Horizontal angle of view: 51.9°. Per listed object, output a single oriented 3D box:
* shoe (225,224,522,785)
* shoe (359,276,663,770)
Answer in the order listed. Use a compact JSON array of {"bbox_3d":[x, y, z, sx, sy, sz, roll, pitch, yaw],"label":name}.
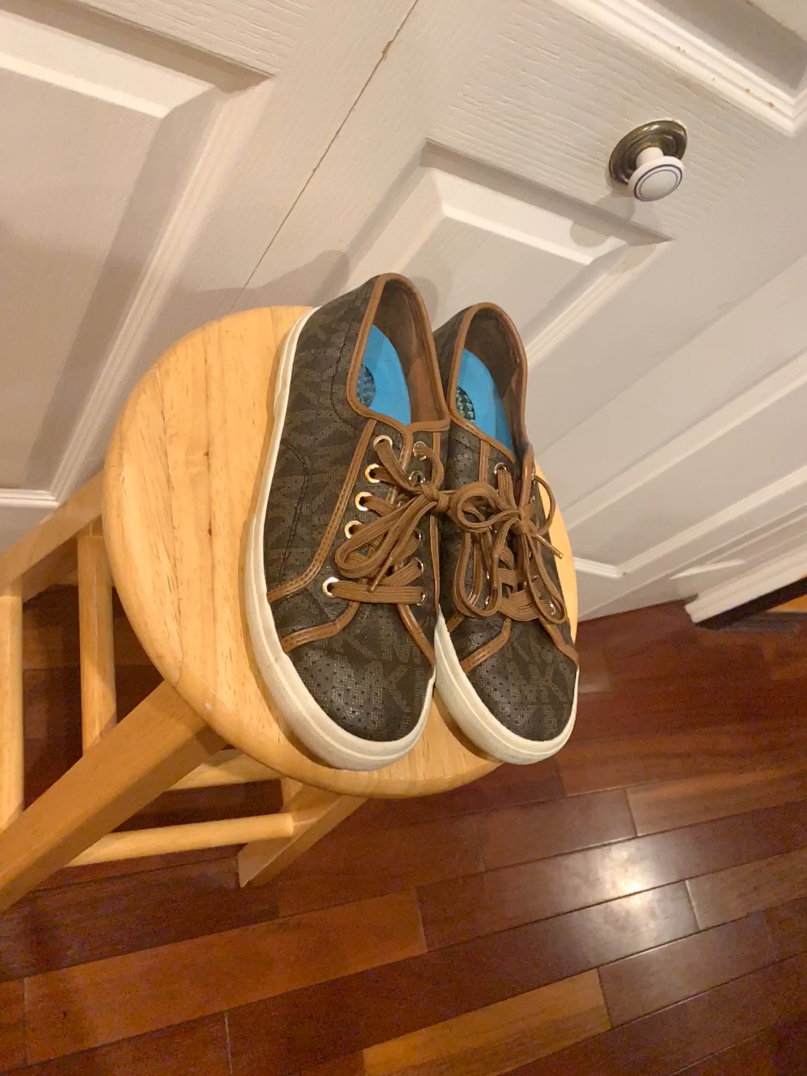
[{"bbox_3d":[-0.020,-0.017,0.426,0.100,0.090,0.260,14,59,-29],"label":"shoe"},{"bbox_3d":[0.051,-0.010,0.475,0.100,0.080,0.260,7,62,-32],"label":"shoe"}]
